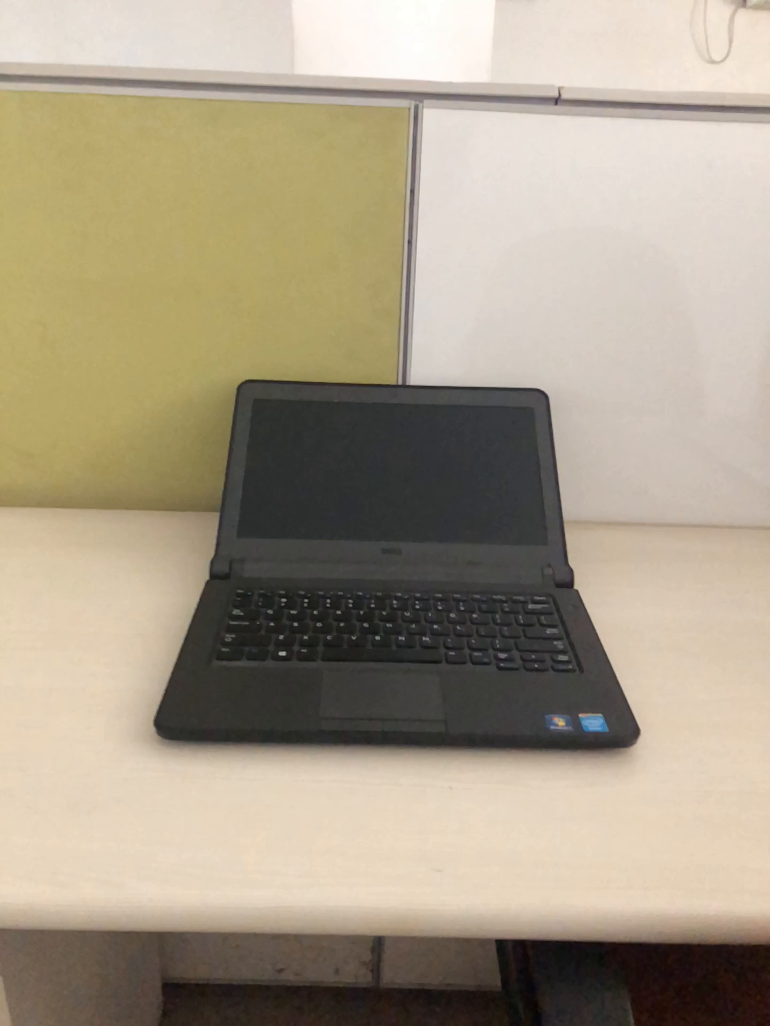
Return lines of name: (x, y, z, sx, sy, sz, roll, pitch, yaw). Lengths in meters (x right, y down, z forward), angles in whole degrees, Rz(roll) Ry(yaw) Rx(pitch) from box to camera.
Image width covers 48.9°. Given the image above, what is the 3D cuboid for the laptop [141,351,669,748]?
laptop: (0.009, -0.007, 0.713, 0.316, 0.122, 0.418, 2, 27, -2)
